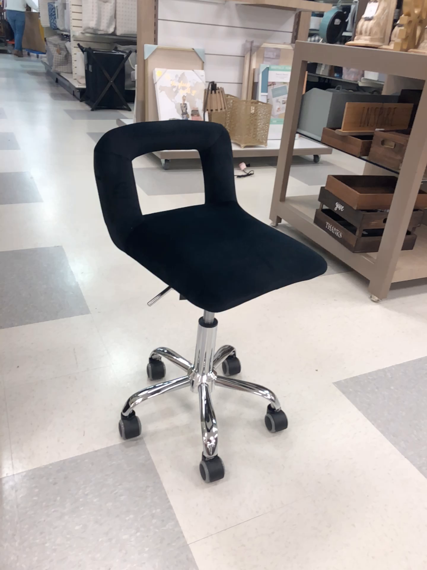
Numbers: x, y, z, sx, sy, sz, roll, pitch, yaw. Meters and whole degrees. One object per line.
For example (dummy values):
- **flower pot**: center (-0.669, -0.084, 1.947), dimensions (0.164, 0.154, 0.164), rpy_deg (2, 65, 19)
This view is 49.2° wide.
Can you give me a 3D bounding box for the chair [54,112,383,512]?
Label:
- **chair**: center (-0.025, 0.009, 1.104), dimensions (0.463, 0.693, 0.485), rpy_deg (-18, 36, -37)
